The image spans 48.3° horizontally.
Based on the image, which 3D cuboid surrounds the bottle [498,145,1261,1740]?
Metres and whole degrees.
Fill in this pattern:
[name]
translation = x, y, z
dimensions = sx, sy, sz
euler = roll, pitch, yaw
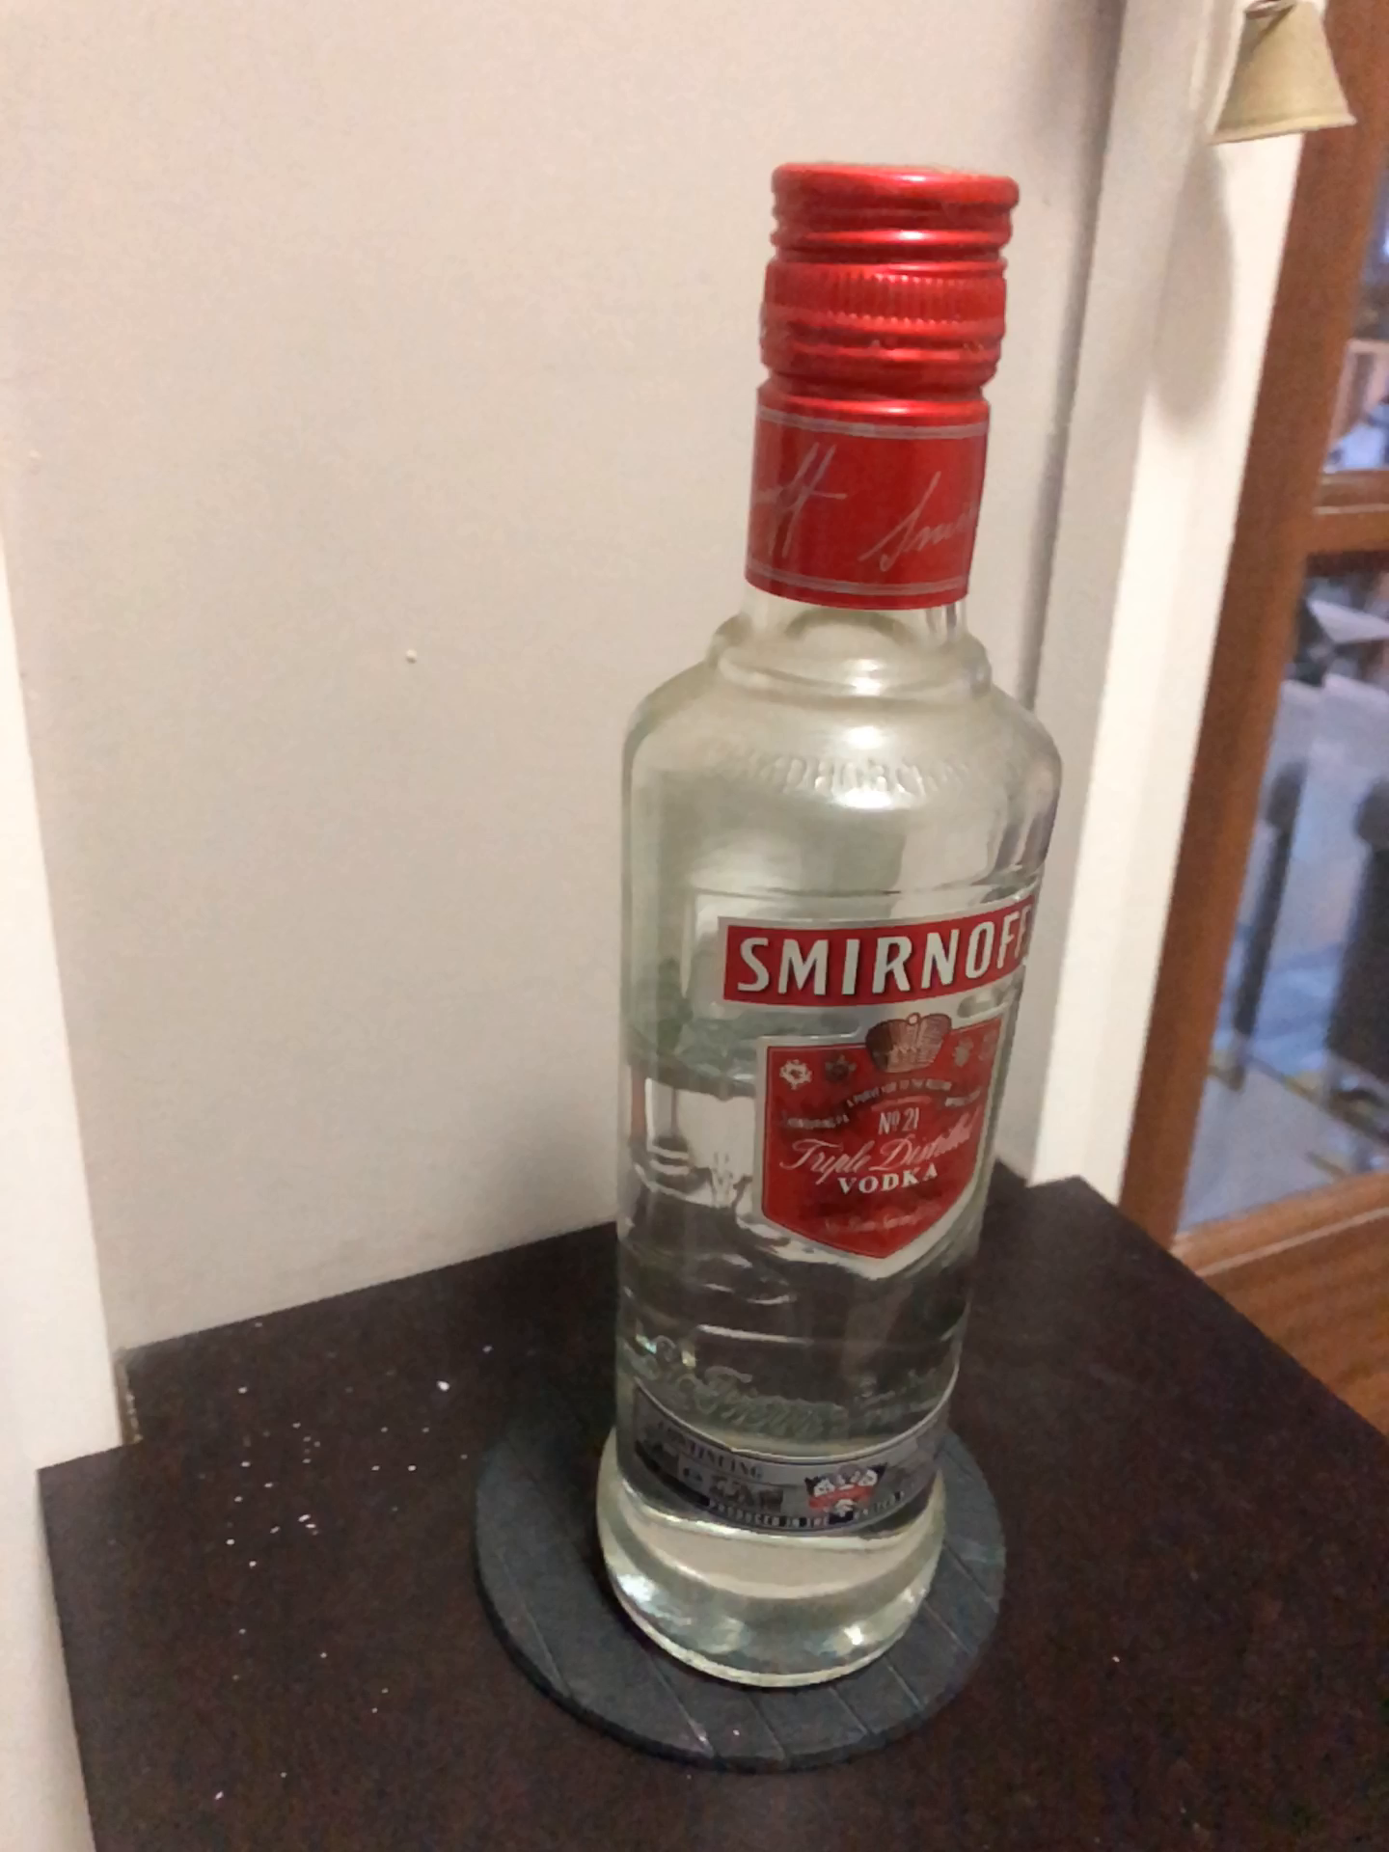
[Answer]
[bottle]
translation = 0.013, 0.007, 0.235
dimensions = 0.070, 0.219, 0.070
euler = 2, 24, -1
